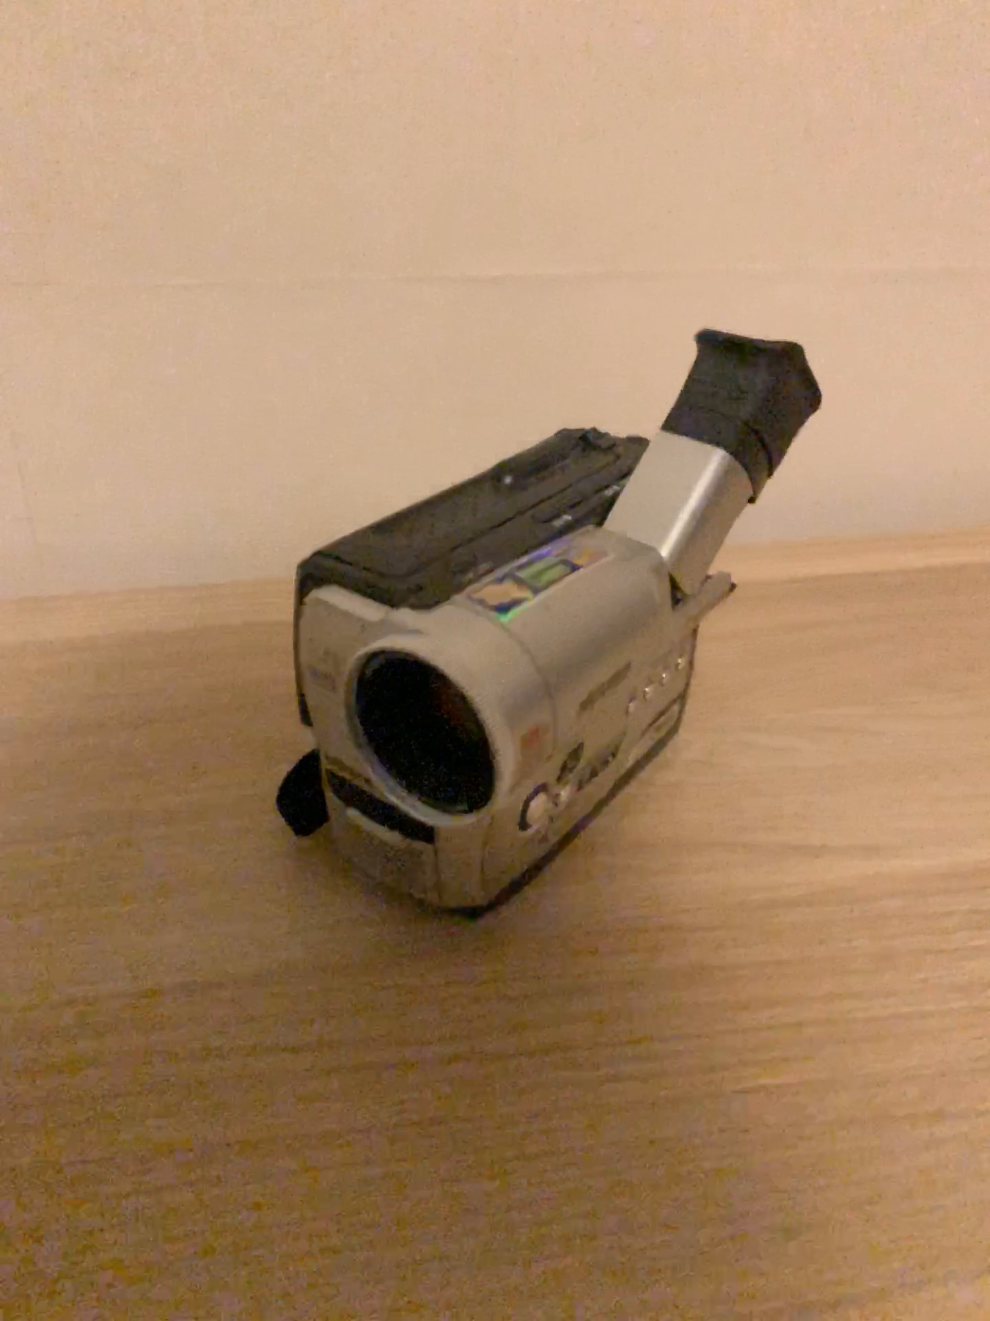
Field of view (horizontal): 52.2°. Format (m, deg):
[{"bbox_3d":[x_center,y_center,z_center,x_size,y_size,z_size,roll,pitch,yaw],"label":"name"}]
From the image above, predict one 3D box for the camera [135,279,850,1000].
[{"bbox_3d":[0.013,-0.029,0.310,0.106,0.133,0.193,20,34,29],"label":"camera"}]
